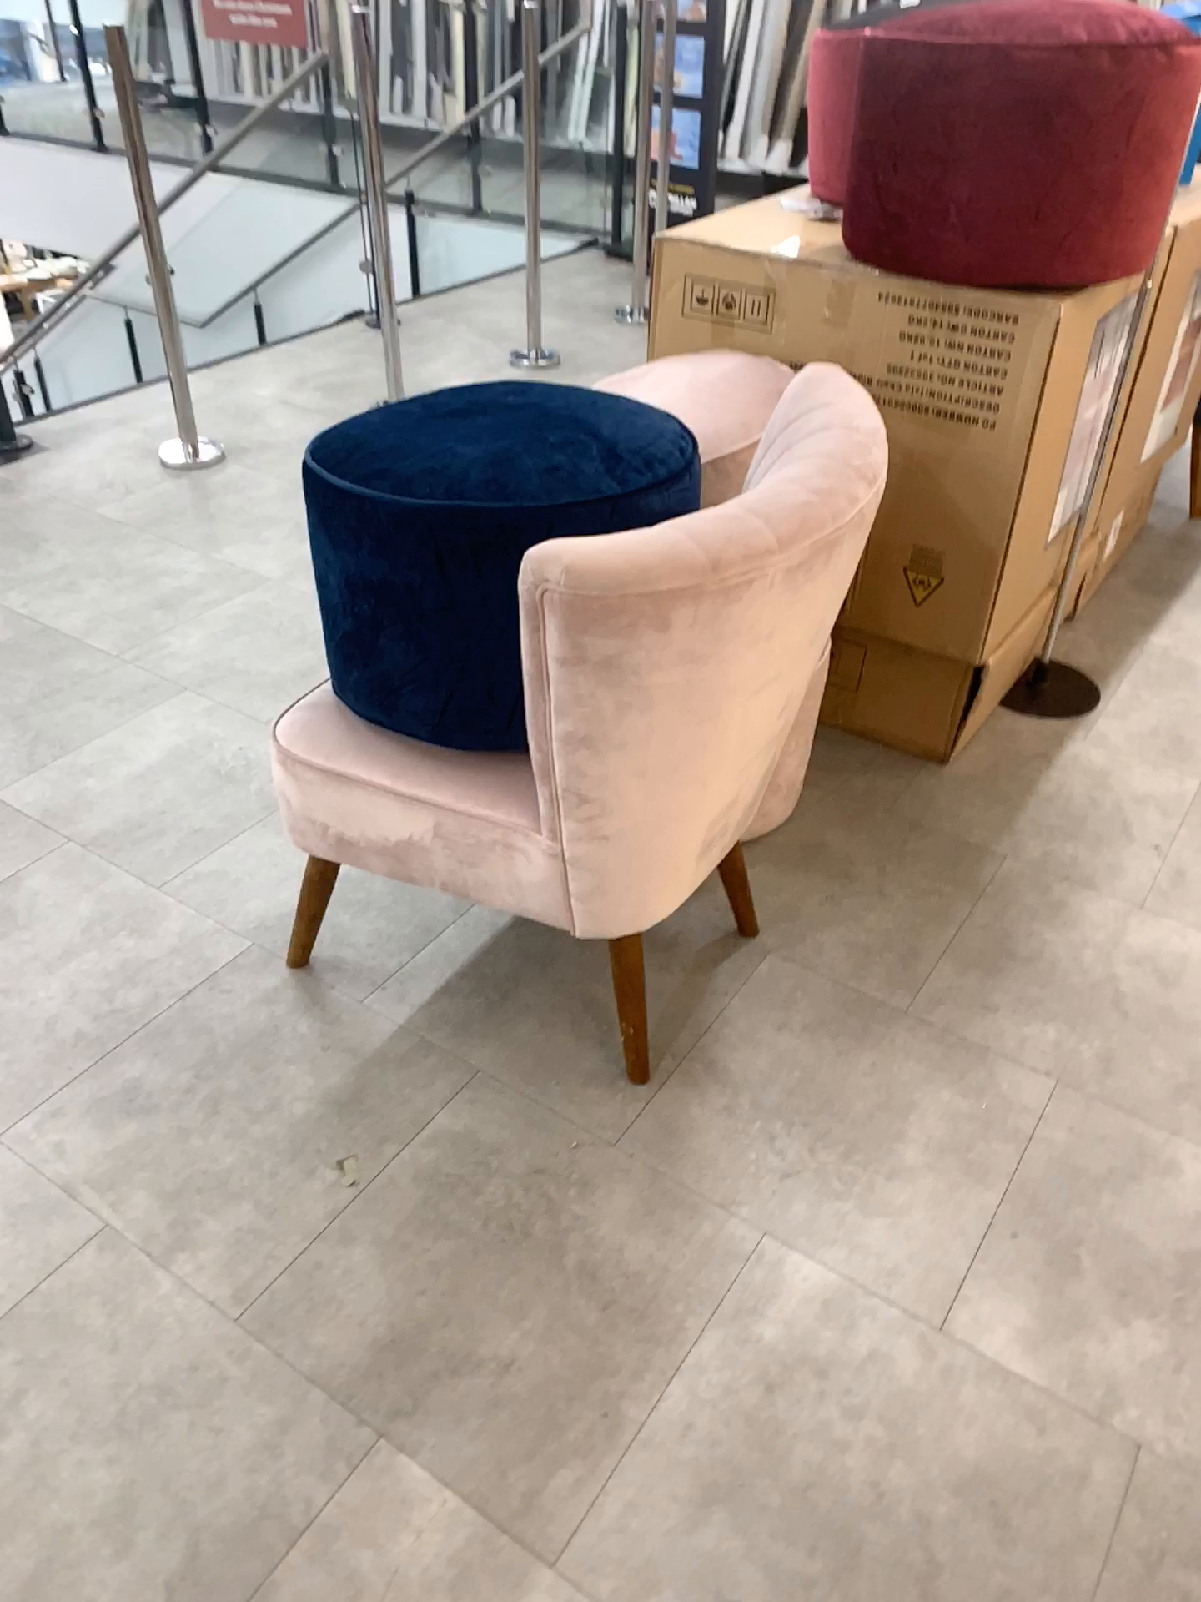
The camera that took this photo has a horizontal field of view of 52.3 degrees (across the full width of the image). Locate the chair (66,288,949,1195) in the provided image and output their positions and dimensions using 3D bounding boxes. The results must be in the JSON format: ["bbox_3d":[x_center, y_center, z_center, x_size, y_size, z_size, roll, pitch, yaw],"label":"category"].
[{"bbox_3d":[-0.086,-0.143,1.611,0.732,0.772,0.695,22,41,26],"label":"chair"}]

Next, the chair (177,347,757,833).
[{"bbox_3d":[-0.149,-0.306,1.568,0.494,0.340,0.498,22,41,26],"label":"chair"}]
